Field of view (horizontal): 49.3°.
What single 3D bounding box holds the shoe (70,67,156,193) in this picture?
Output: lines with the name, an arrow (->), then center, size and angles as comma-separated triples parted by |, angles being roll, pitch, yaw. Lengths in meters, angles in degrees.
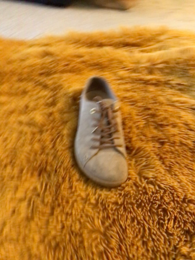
shoe -> 0.010, -0.020, 0.409 | 0.100, 0.069, 0.260 | -2, 47, -12
